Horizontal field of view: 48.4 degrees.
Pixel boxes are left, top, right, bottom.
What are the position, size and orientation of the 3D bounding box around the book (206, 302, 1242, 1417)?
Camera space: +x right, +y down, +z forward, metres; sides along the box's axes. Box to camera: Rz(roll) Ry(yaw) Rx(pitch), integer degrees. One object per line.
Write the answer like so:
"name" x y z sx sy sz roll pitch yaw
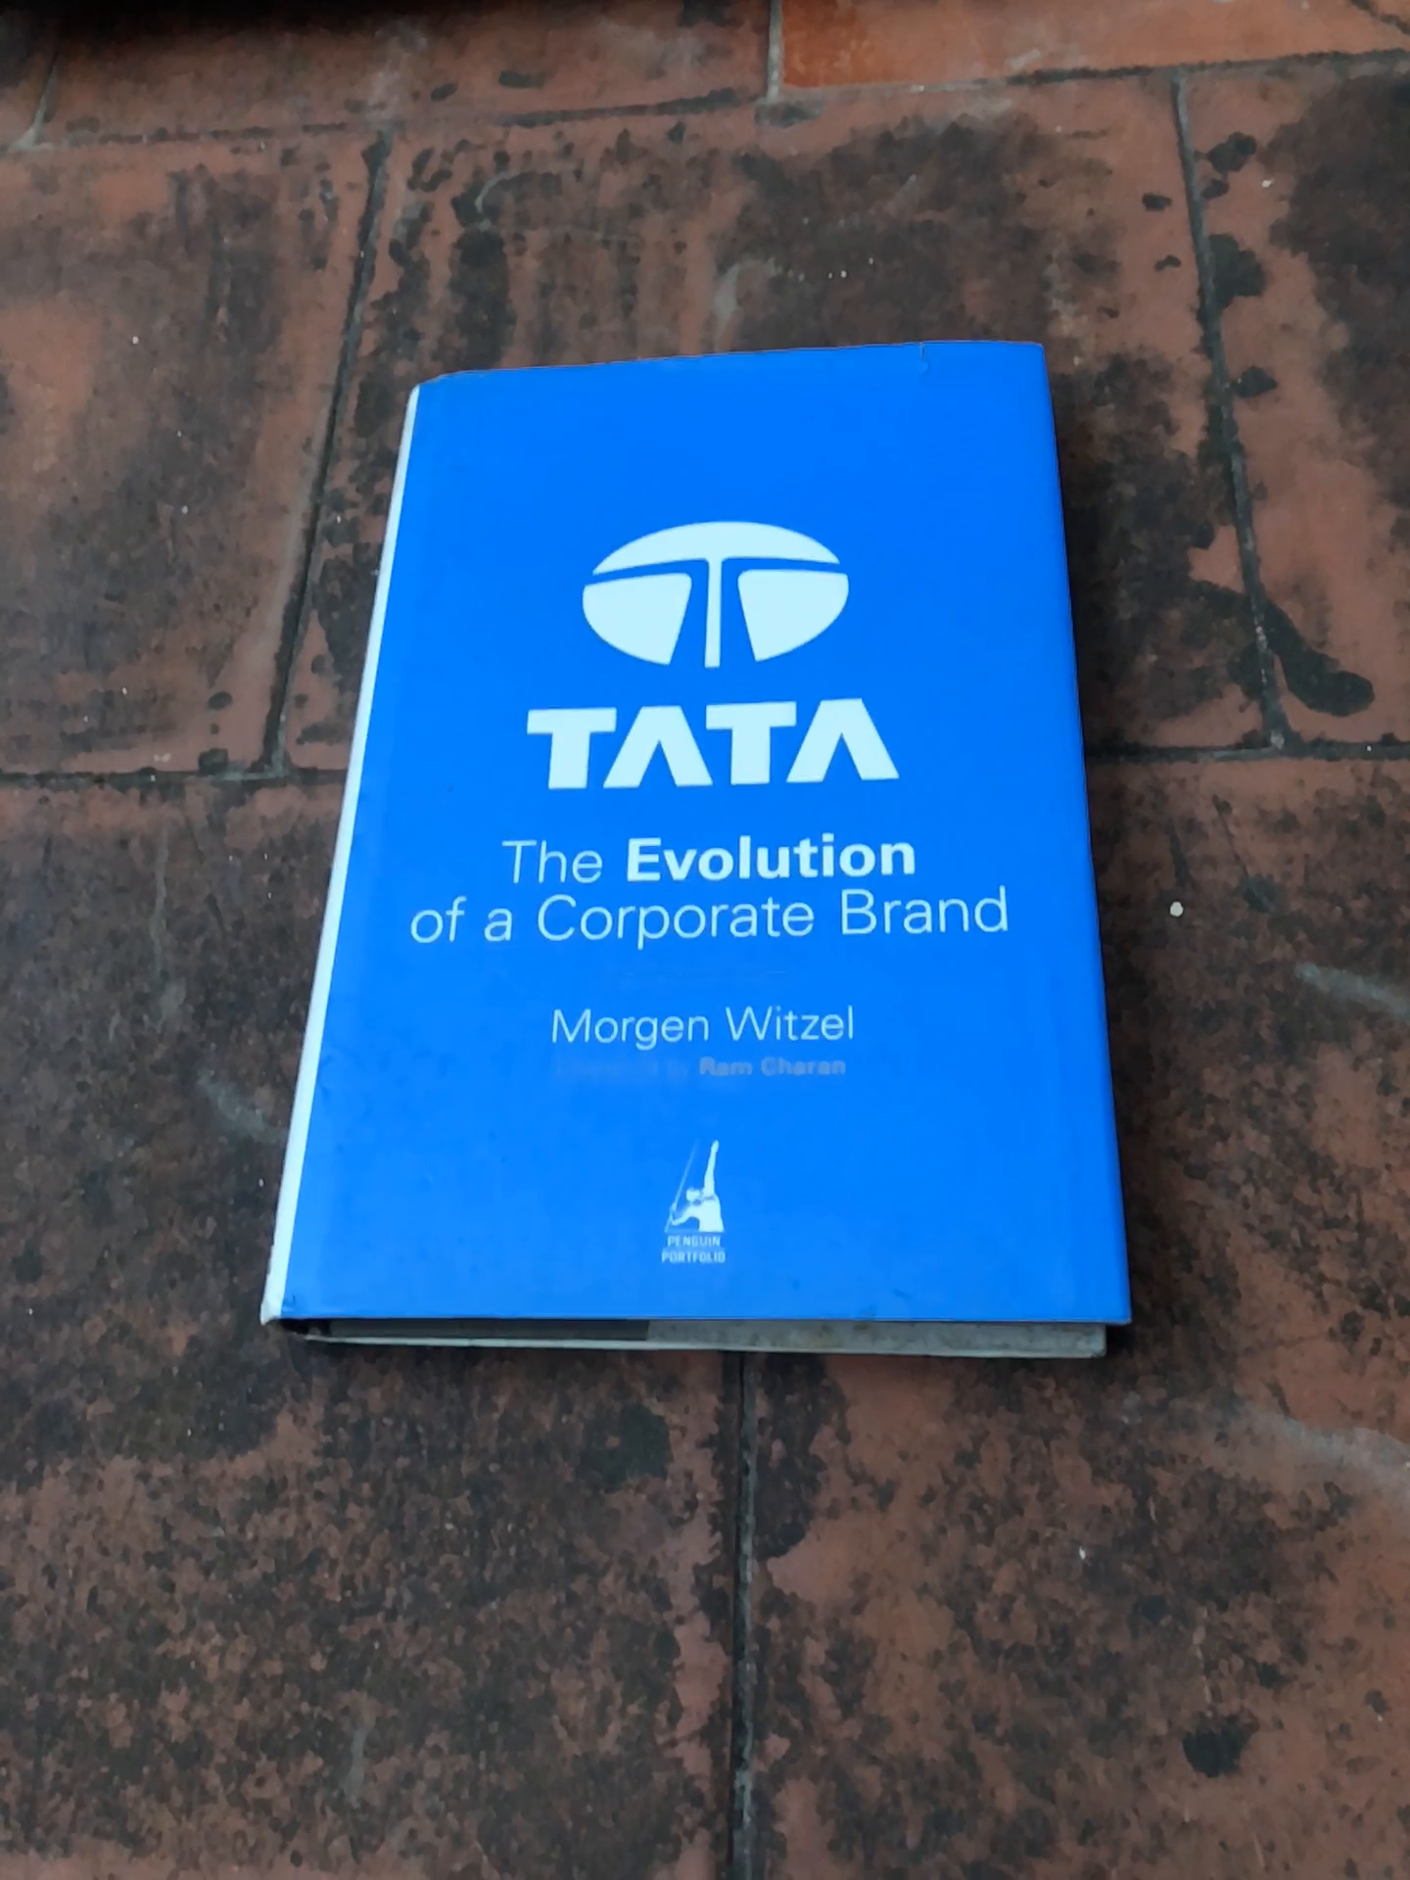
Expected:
"book" 0.007 -0.029 0.329 0.170 0.040 0.240 -1 63 6
